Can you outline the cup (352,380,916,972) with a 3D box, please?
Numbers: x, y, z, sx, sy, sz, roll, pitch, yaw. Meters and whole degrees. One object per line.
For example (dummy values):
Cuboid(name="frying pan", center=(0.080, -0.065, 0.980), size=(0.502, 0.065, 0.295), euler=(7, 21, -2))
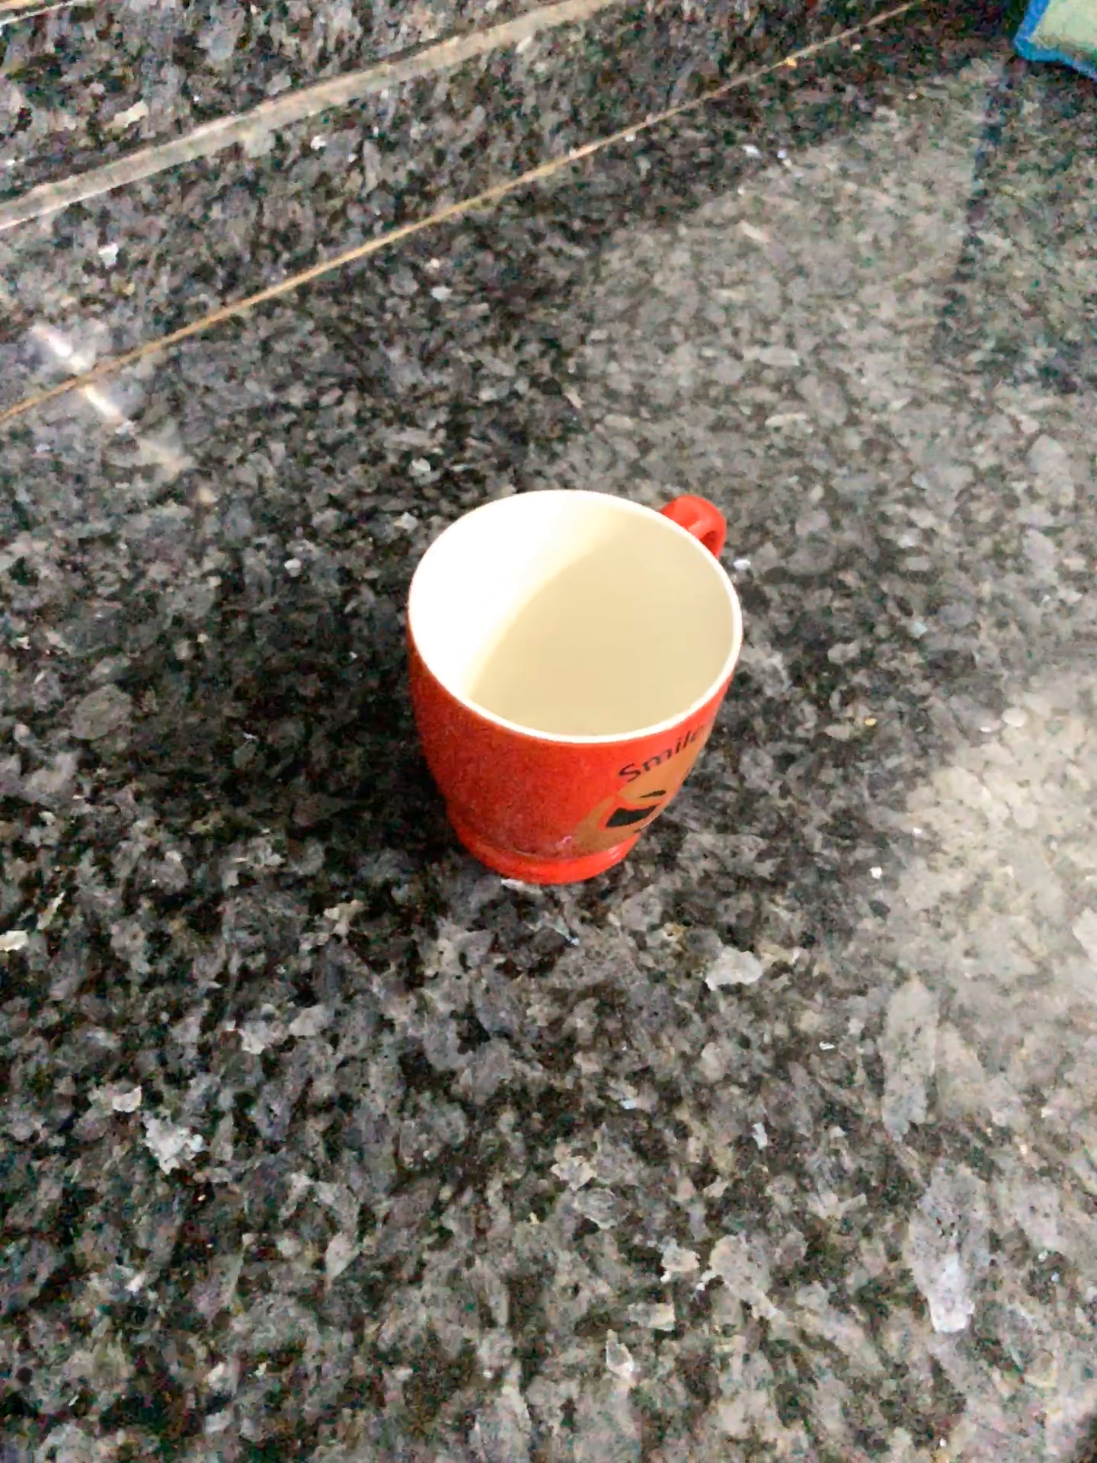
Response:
Cuboid(name="cup", center=(0.019, -0.016, 0.275), size=(0.070, 0.070, 0.110), euler=(38, 59, 19))
